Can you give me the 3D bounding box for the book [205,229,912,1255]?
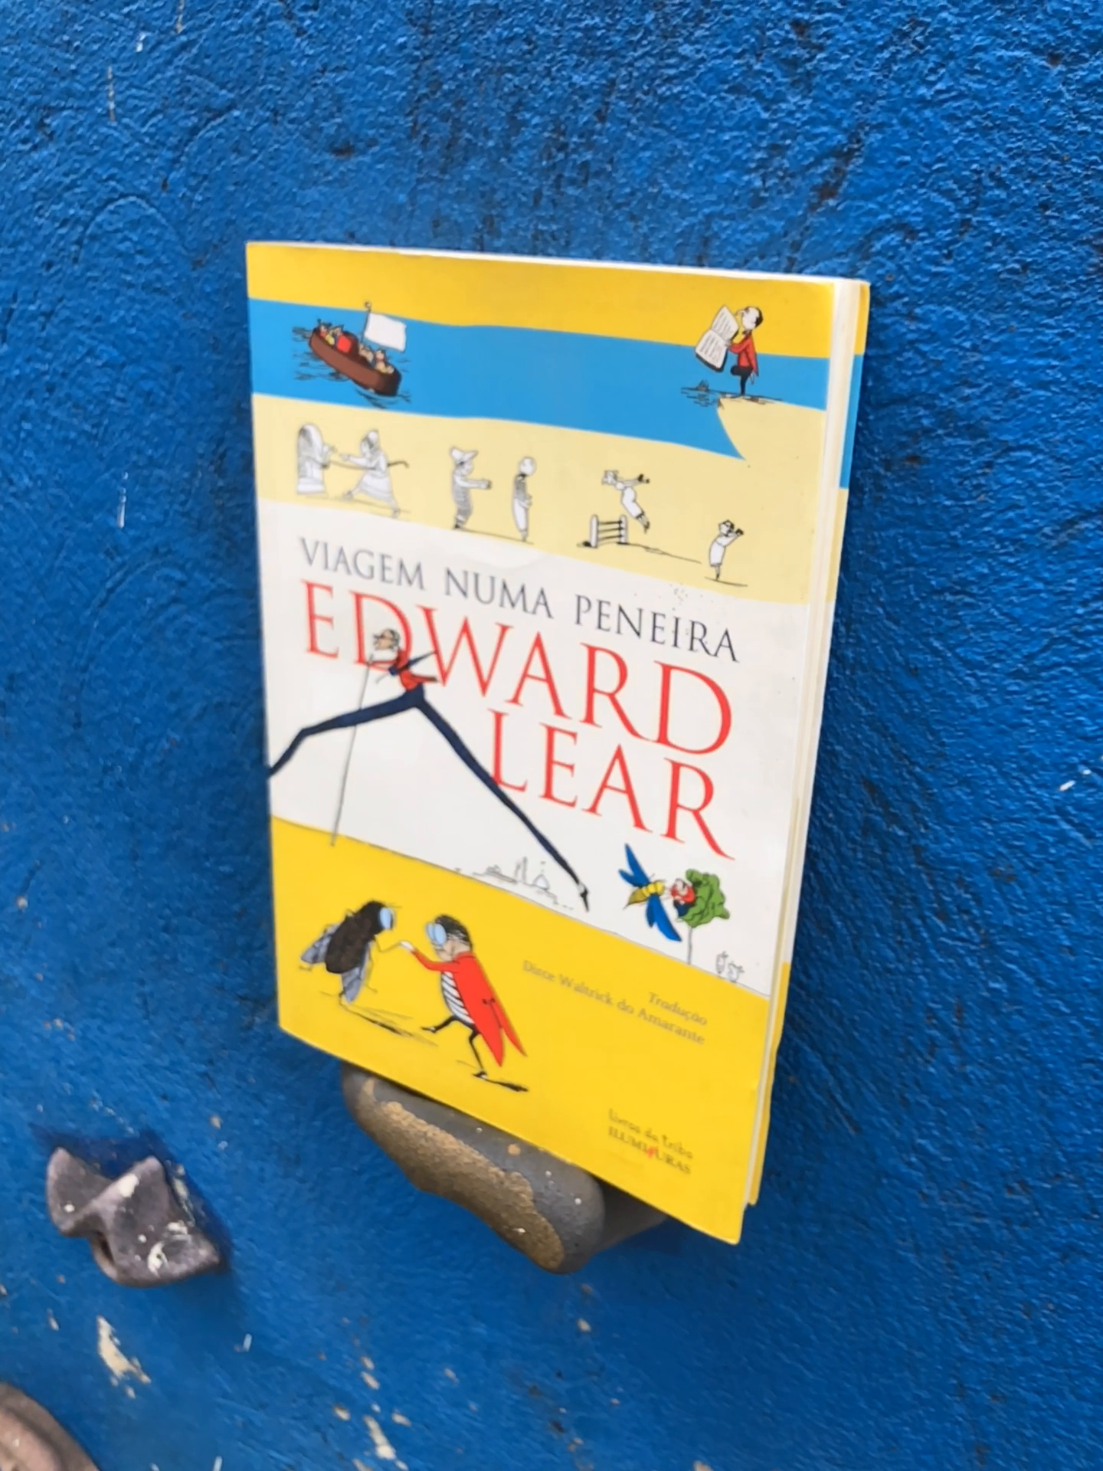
[{"bbox_3d":[-0.011,0.000,0.296,0.158,0.219,0.022,15,26,28],"label":"book"}]
